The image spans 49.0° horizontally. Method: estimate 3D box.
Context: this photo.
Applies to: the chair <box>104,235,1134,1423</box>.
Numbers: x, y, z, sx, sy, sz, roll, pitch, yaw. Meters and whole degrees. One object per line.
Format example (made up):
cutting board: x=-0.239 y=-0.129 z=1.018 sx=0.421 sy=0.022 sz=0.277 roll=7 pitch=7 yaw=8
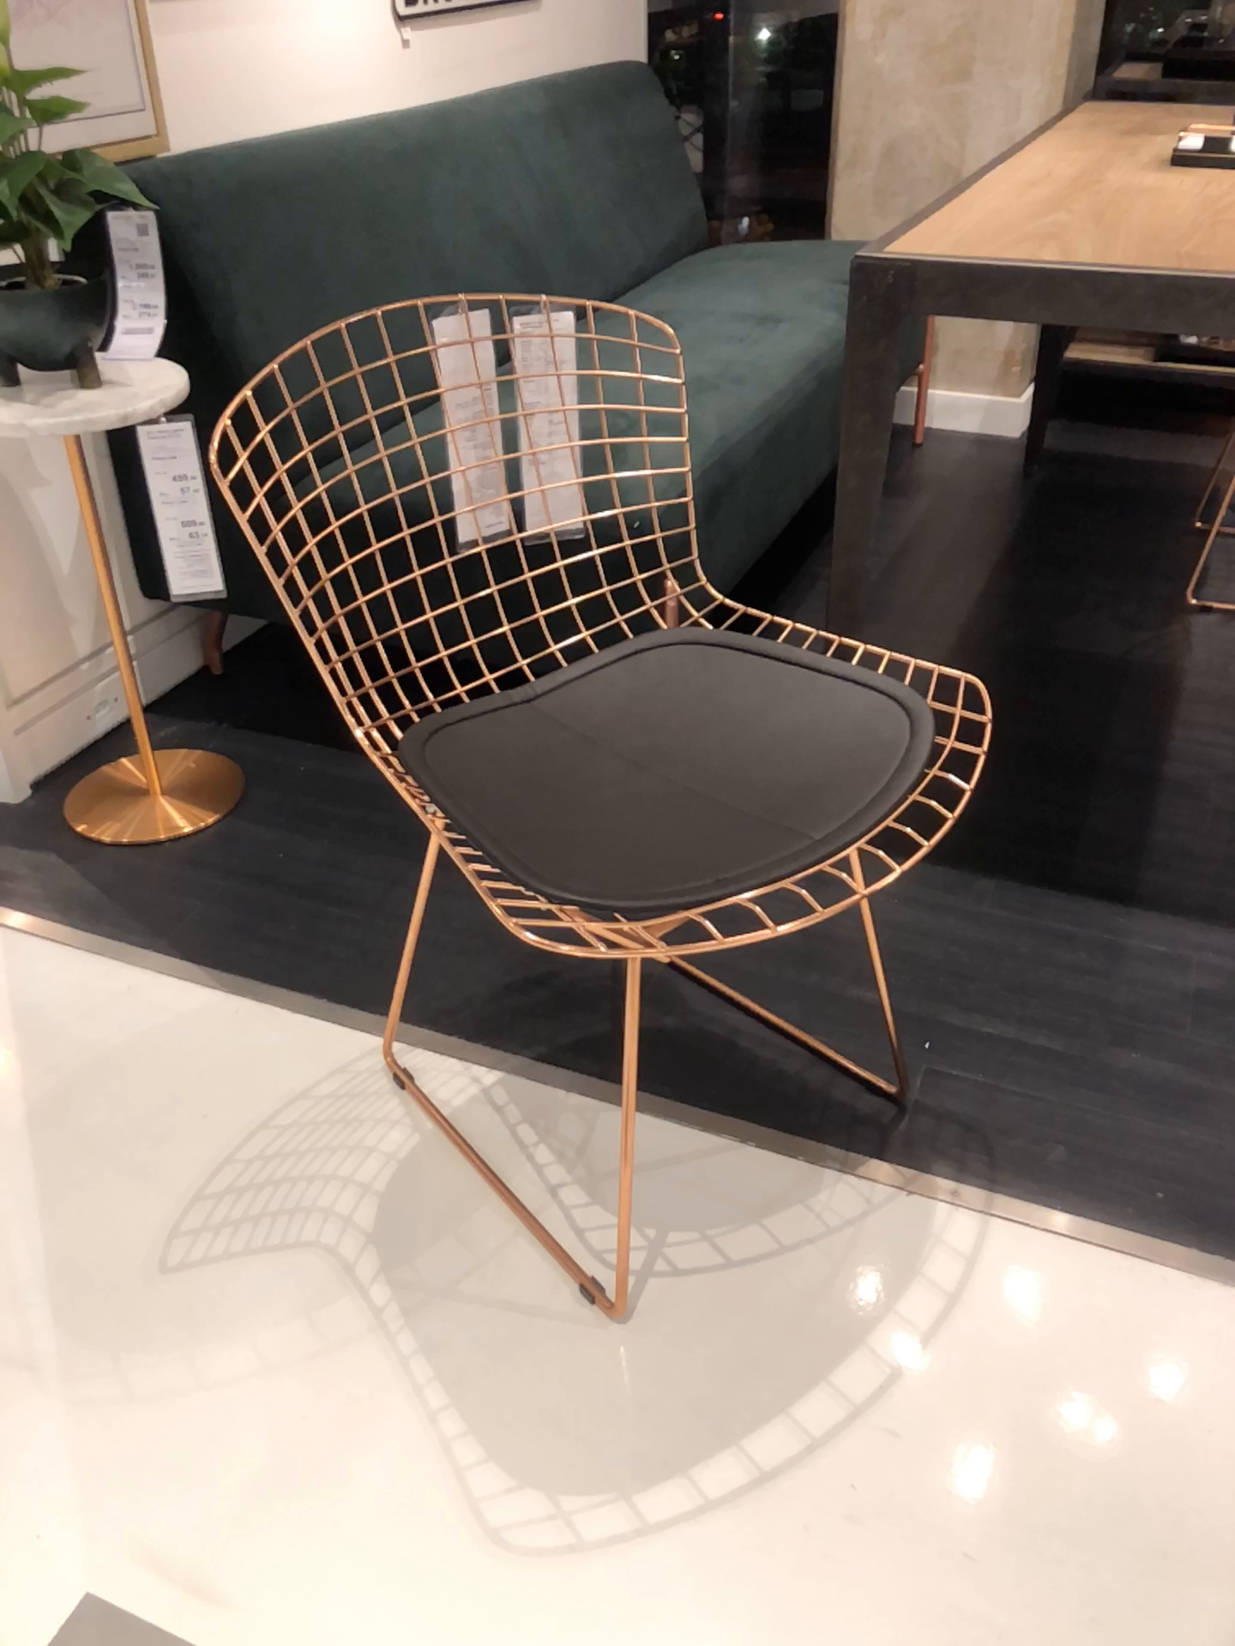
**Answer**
chair: x=0.000 y=-0.045 z=1.185 sx=0.522 sy=0.744 sz=0.542 roll=-28 pitch=41 yaw=-35
